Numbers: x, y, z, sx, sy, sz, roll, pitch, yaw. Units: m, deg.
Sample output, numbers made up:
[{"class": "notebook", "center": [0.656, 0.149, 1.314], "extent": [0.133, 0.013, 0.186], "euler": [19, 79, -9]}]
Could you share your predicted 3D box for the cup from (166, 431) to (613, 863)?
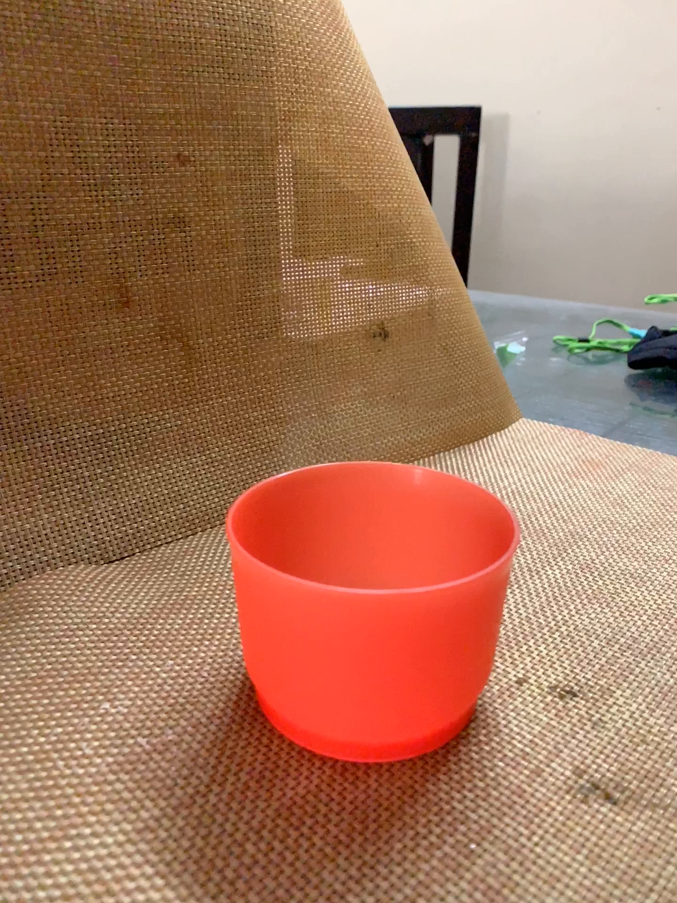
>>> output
[{"class": "cup", "center": [0.015, 0.037, 0.182], "extent": [0.078, 0.050, 0.082], "euler": [1, 20, 0]}]
